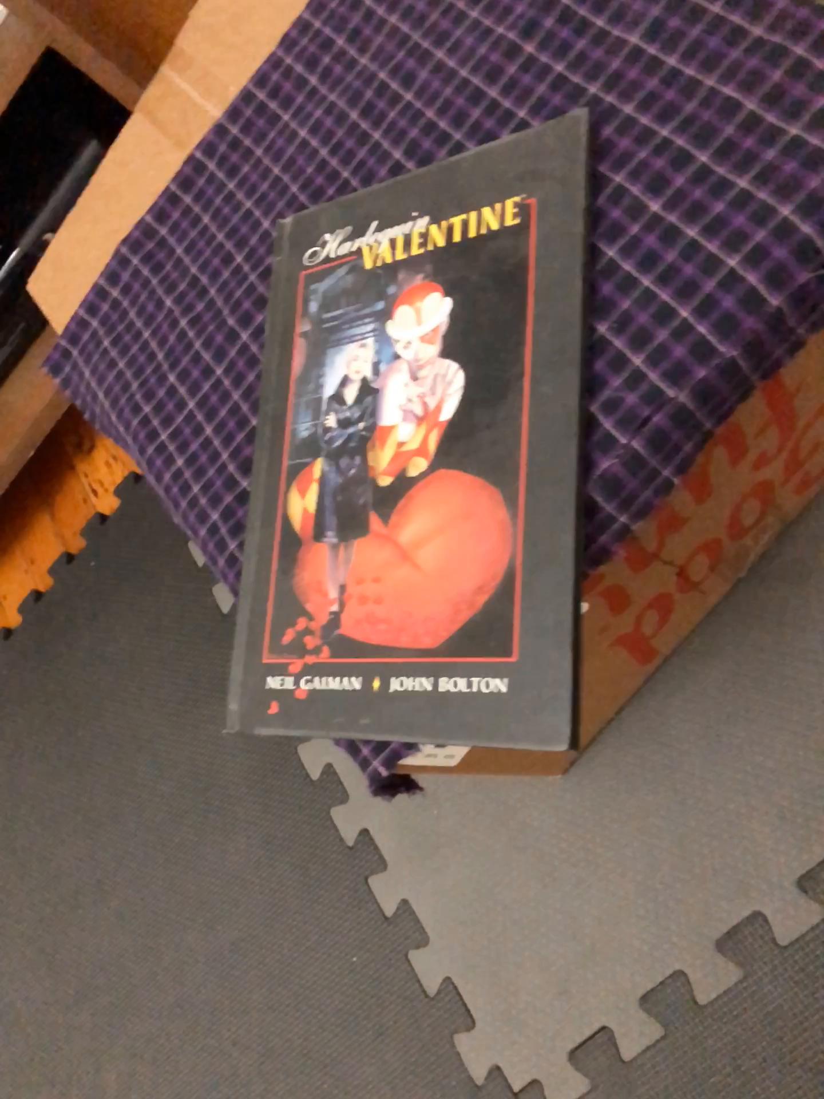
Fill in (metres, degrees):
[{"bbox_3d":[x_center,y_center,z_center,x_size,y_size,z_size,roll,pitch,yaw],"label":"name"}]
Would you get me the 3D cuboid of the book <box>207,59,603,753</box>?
[{"bbox_3d":[-0.005,-0.057,0.401,0.180,0.020,0.280,-6,74,34],"label":"book"}]
